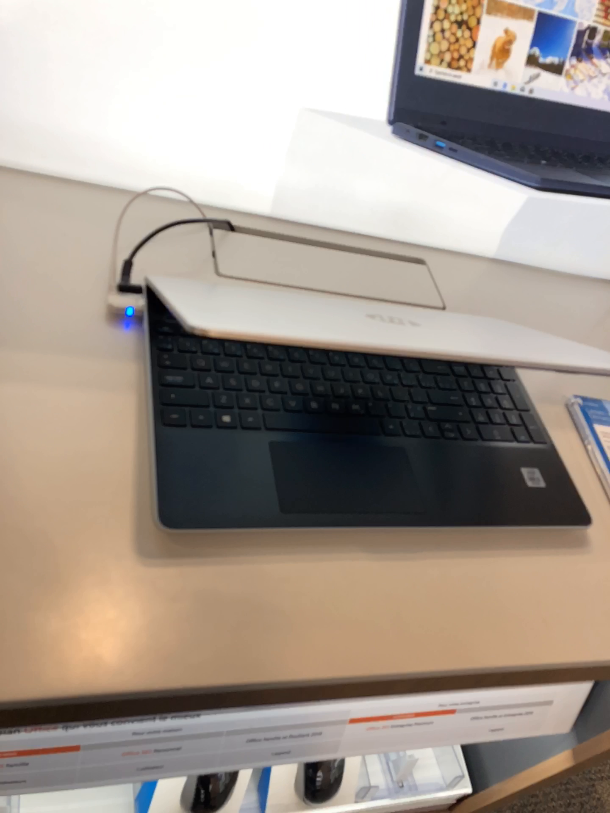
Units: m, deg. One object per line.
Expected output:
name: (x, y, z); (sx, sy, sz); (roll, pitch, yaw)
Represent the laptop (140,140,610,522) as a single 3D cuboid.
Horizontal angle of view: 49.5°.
laptop: (0.065, -0.048, 0.505); (0.346, 0.131, 0.230); (3, 49, -21)
